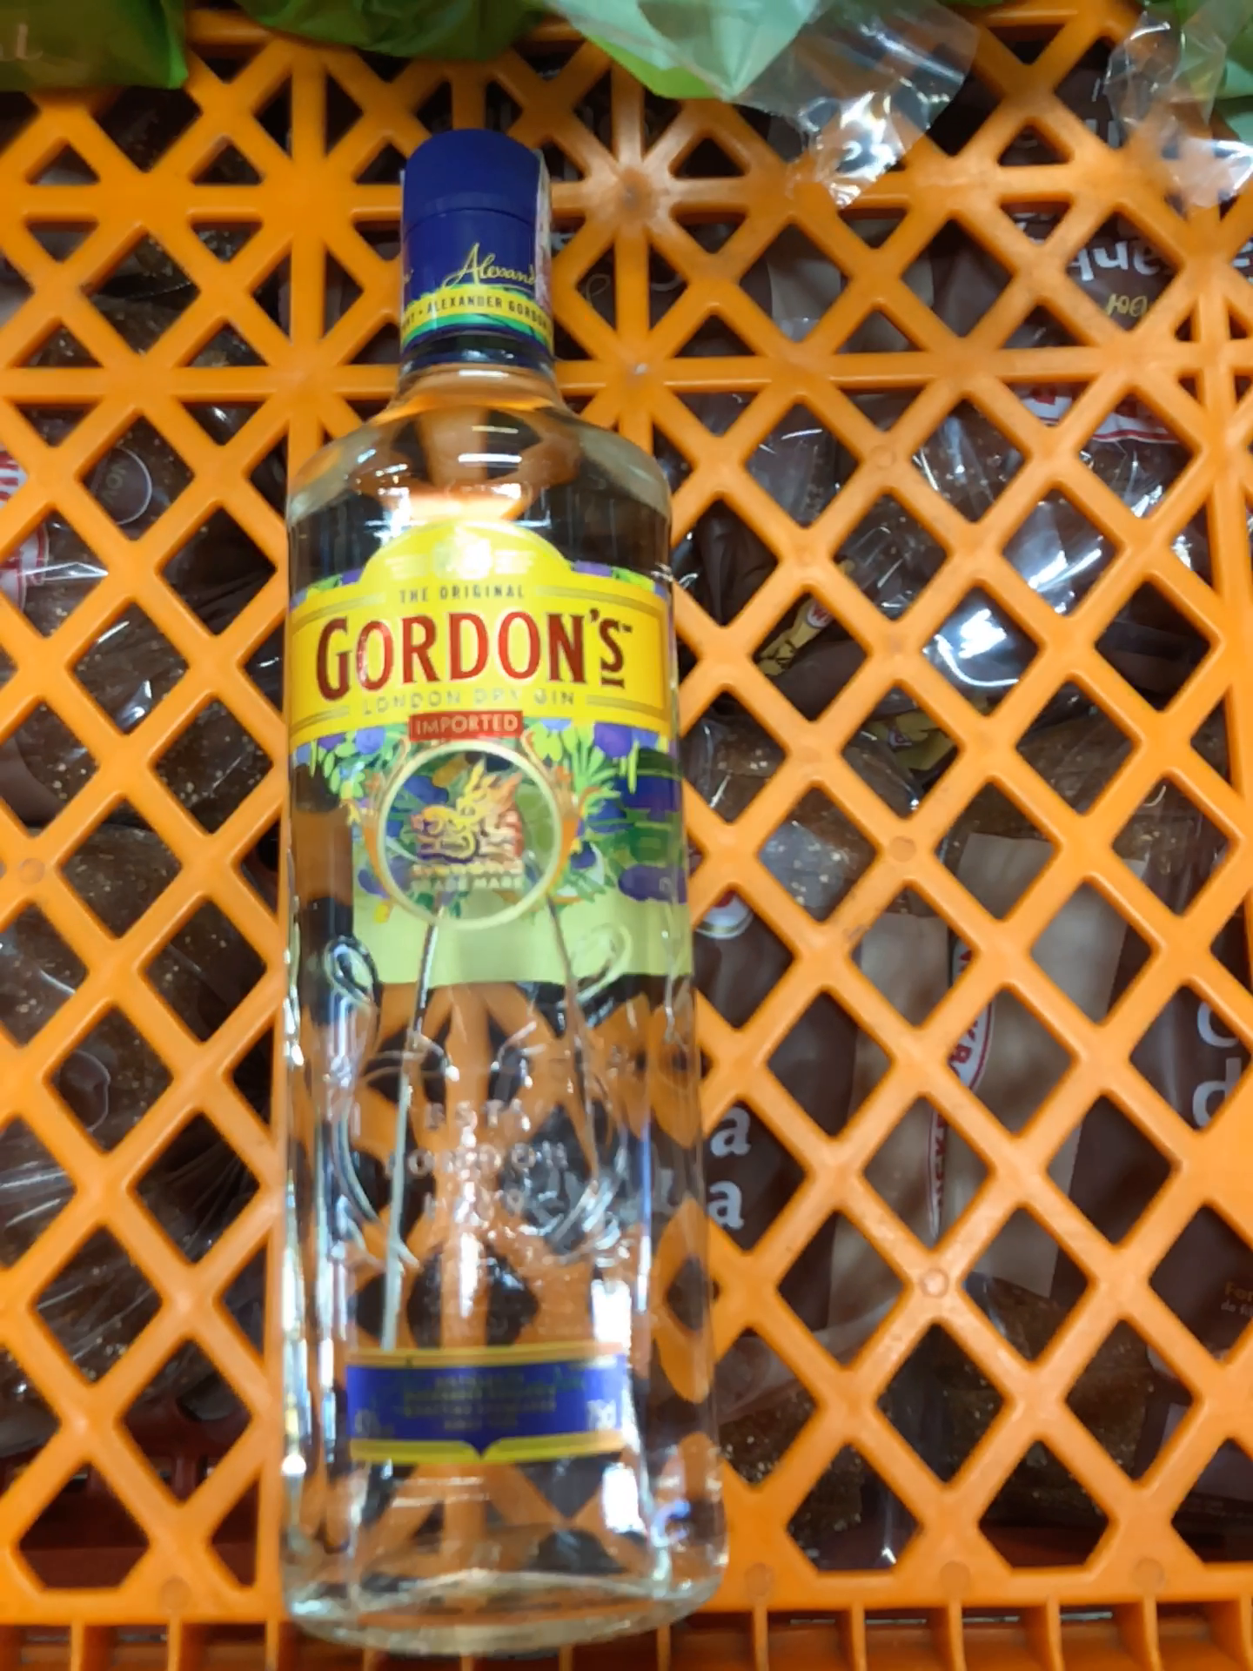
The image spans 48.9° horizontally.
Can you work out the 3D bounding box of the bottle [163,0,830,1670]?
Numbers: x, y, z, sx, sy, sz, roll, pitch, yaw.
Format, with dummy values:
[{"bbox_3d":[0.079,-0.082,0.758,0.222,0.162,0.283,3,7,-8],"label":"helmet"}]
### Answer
[{"bbox_3d":[-0.027,-0.015,0.279,0.100,0.100,0.310,-2,82,-3],"label":"bottle"}]
